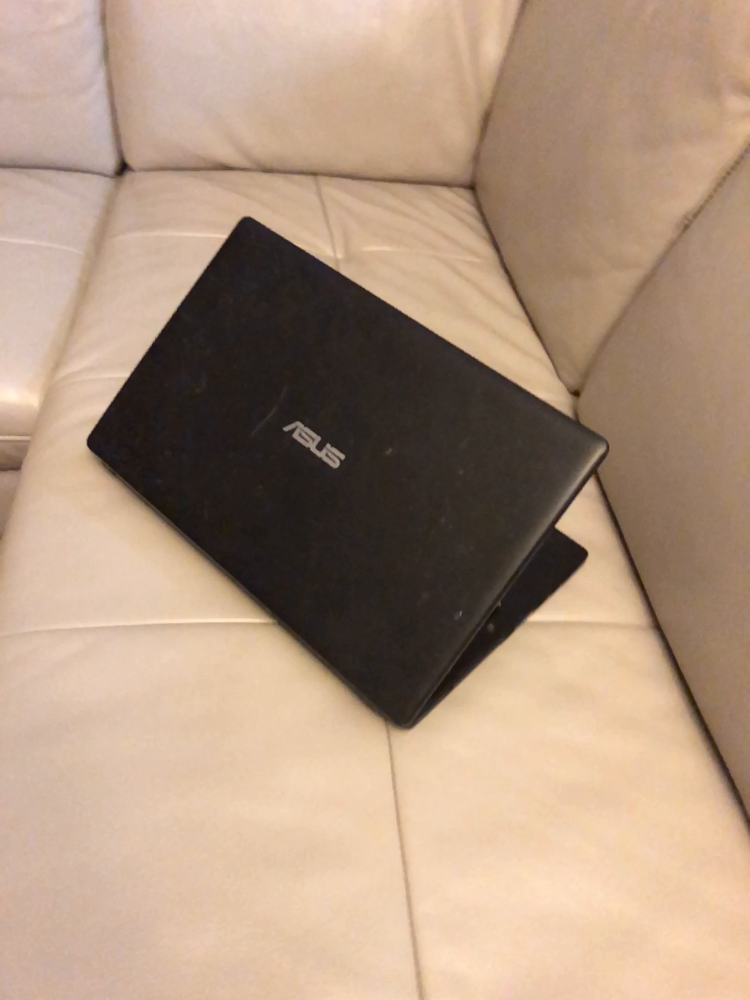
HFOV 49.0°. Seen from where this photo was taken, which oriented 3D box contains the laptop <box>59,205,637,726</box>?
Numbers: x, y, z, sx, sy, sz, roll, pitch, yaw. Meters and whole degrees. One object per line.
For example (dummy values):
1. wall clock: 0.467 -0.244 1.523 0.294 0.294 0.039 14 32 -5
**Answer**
1. laptop: -0.029 -0.058 0.663 0.371 0.155 0.242 37 51 25
